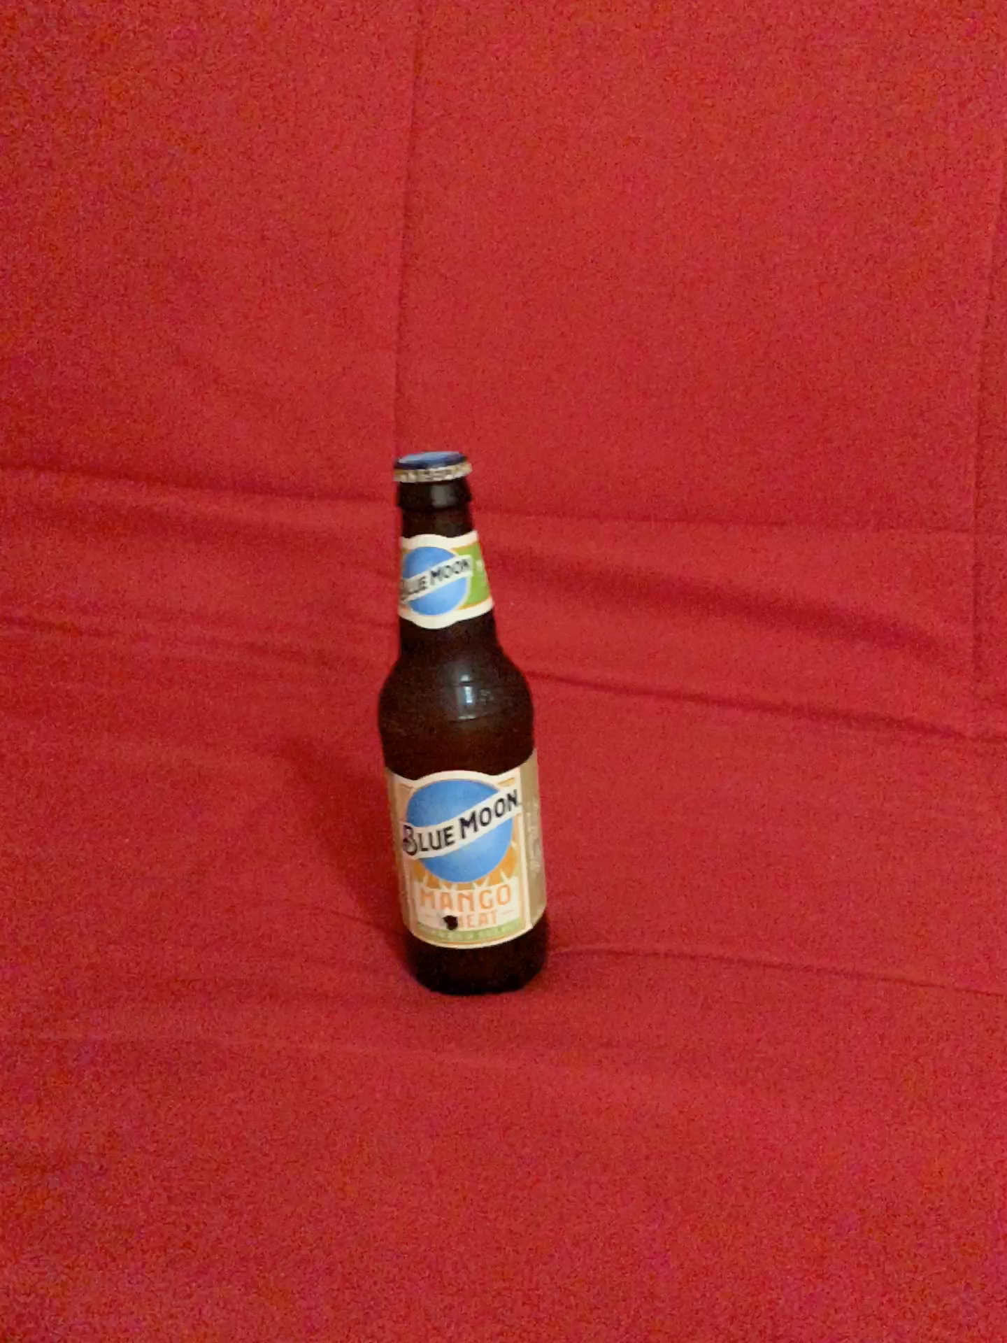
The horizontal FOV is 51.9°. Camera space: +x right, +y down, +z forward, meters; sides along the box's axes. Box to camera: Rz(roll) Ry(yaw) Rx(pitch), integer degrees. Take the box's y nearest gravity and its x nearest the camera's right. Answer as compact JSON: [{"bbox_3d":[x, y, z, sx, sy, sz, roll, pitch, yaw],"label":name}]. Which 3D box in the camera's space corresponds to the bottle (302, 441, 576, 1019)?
[{"bbox_3d":[-0.017,0.026,0.409,0.070,0.216,0.069,-4,24,2],"label":"bottle"}]
